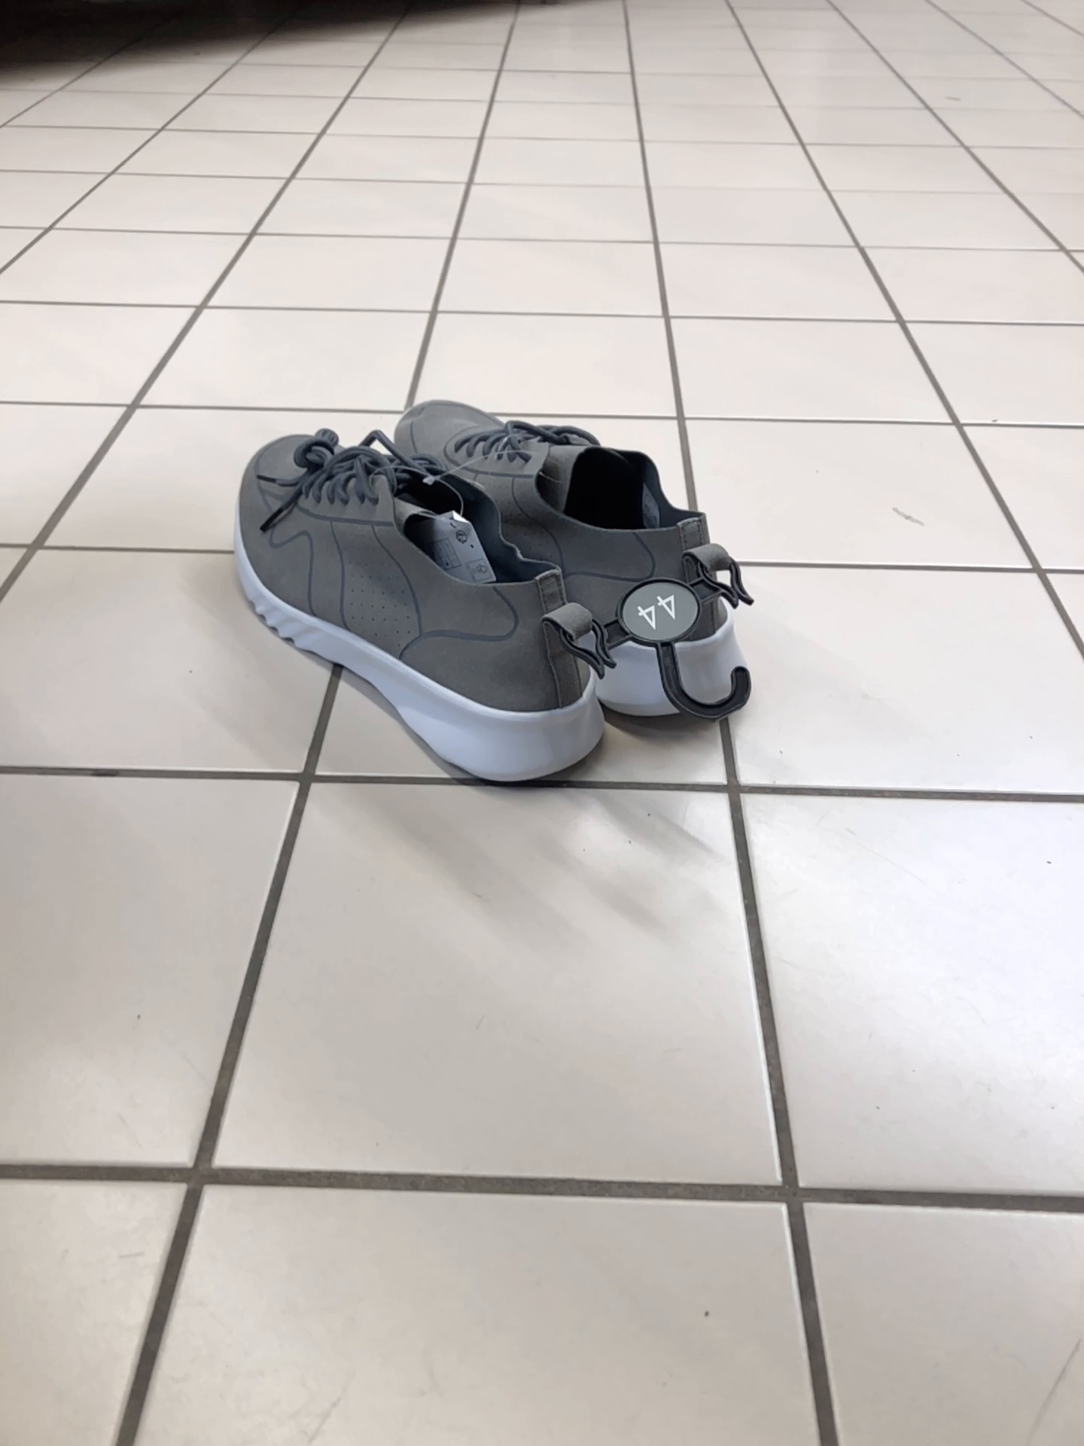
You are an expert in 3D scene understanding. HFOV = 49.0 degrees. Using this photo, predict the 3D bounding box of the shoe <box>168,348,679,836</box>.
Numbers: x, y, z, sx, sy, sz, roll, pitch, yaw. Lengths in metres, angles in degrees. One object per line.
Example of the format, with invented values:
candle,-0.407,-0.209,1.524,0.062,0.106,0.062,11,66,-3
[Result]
shoe,-0.071,-0.084,0.602,0.110,0.099,0.291,-24,45,-27

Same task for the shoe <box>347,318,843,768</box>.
shoe,0.012,-0.114,0.641,0.110,0.099,0.291,-21,43,-25
